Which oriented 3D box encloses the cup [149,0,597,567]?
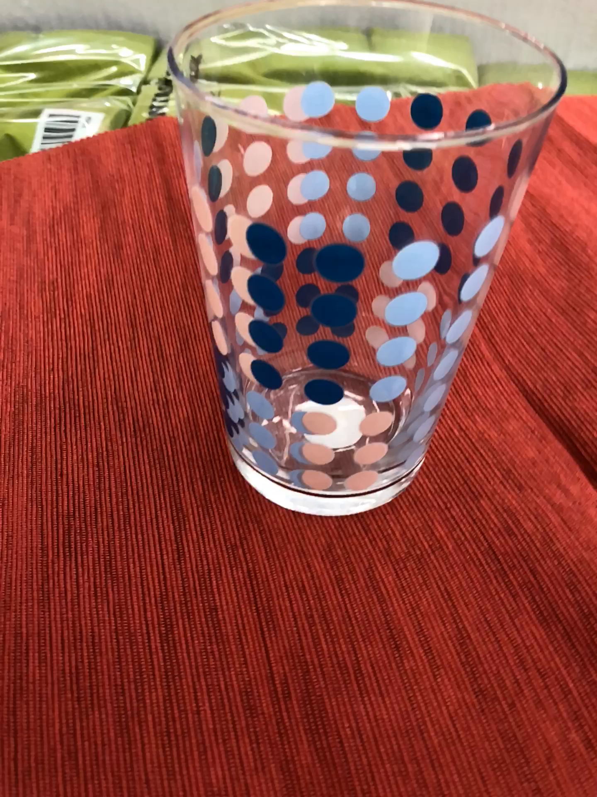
[{"bbox_3d":[0.017,-0.033,0.181,0.090,0.120,0.090,0,45,0],"label":"cup"}]
